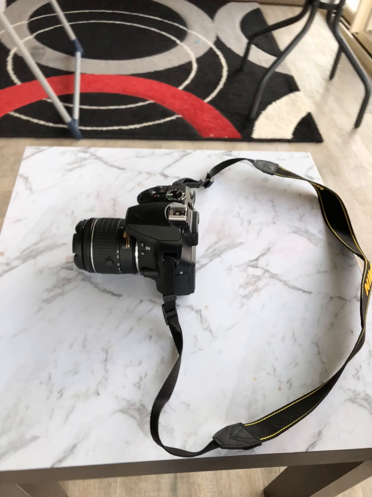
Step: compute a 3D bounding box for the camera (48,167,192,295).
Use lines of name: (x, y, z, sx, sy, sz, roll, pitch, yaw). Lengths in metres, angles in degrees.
camera: (-0.064, -0.021, 0.463, 0.138, 0.076, 0.122, 1, 49, -1)
